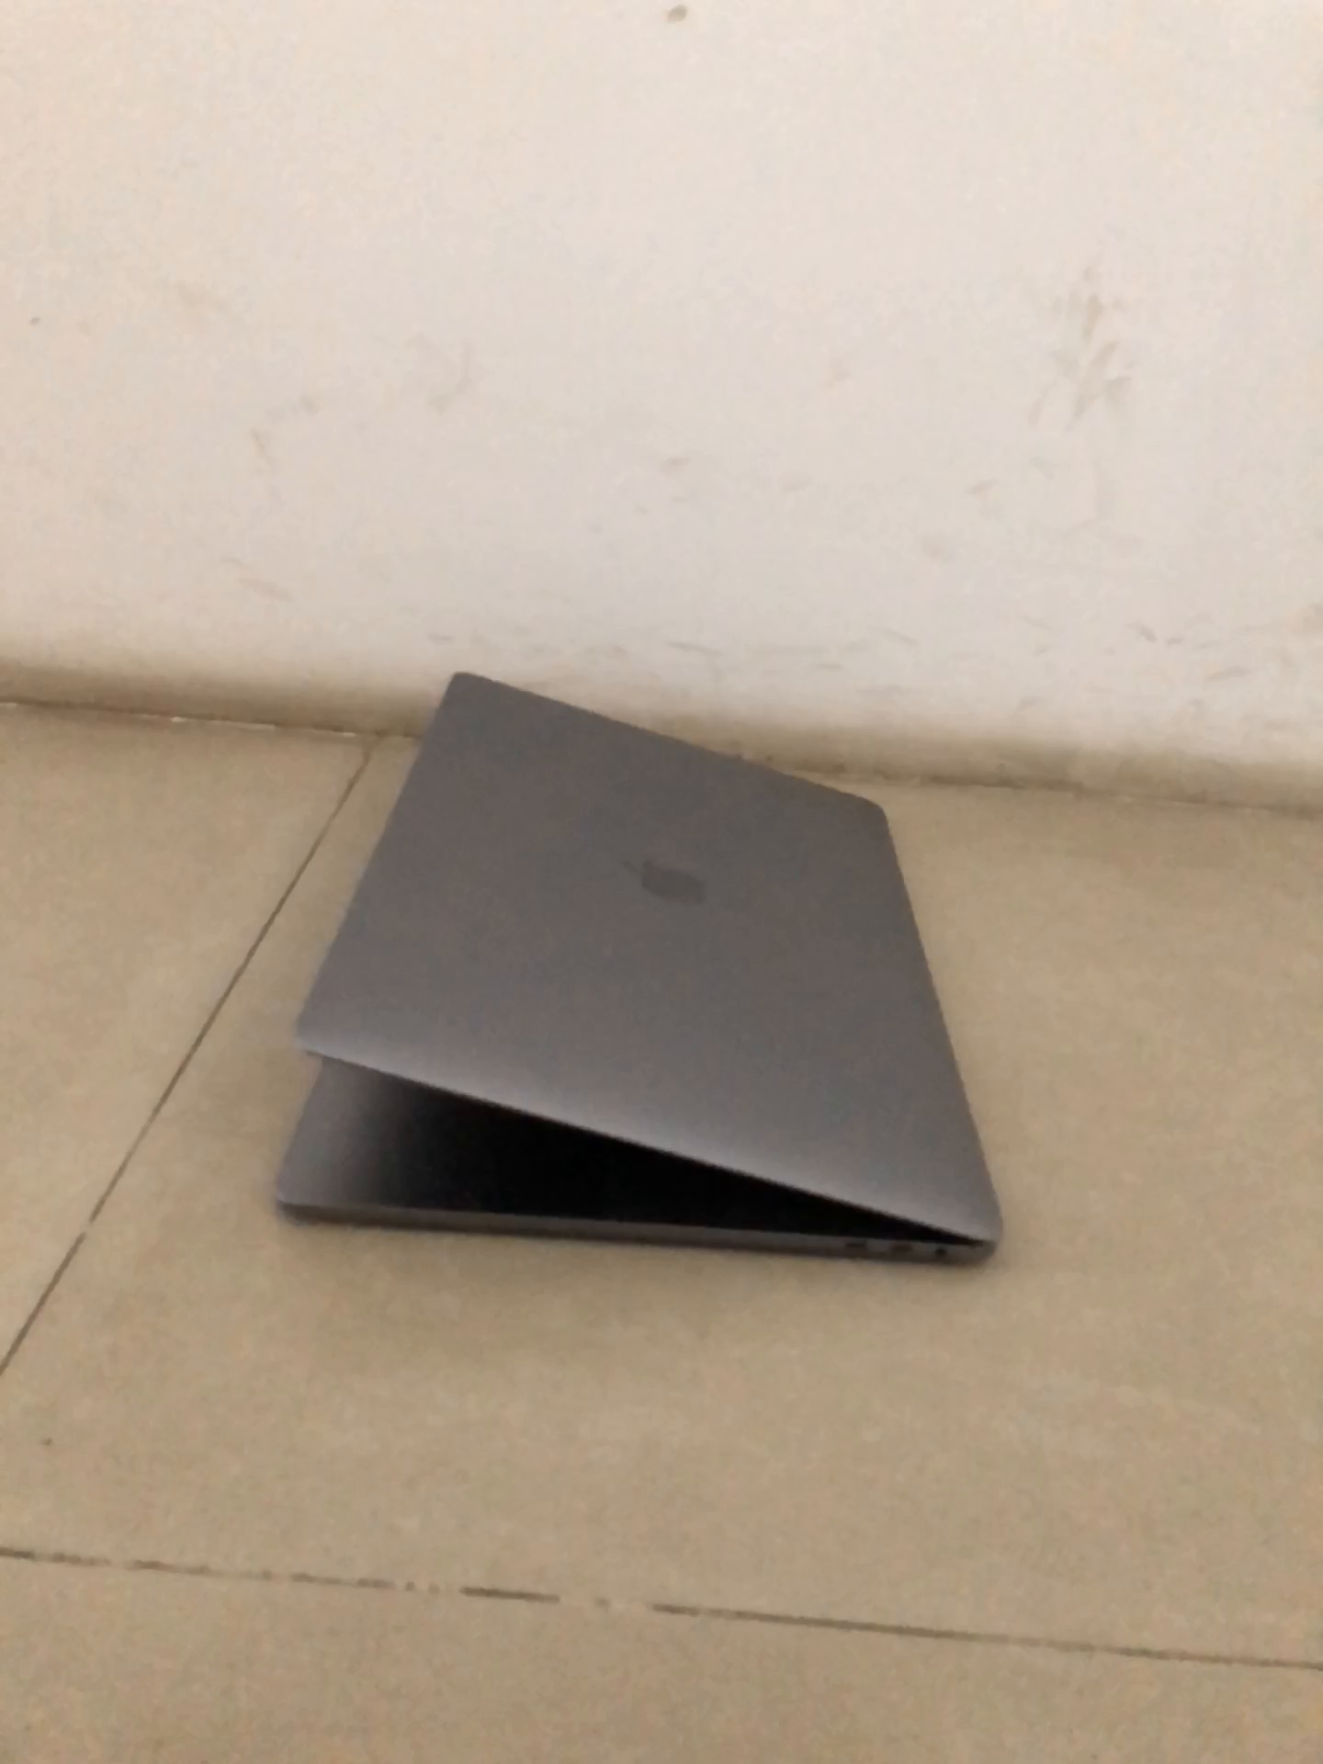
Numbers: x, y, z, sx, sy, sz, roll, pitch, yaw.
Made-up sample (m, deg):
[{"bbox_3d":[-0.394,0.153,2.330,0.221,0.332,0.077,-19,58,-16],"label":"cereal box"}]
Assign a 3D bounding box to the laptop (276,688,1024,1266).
[{"bbox_3d":[0.001,0.012,0.607,0.232,0.057,0.337,4,28,0],"label":"laptop"}]
